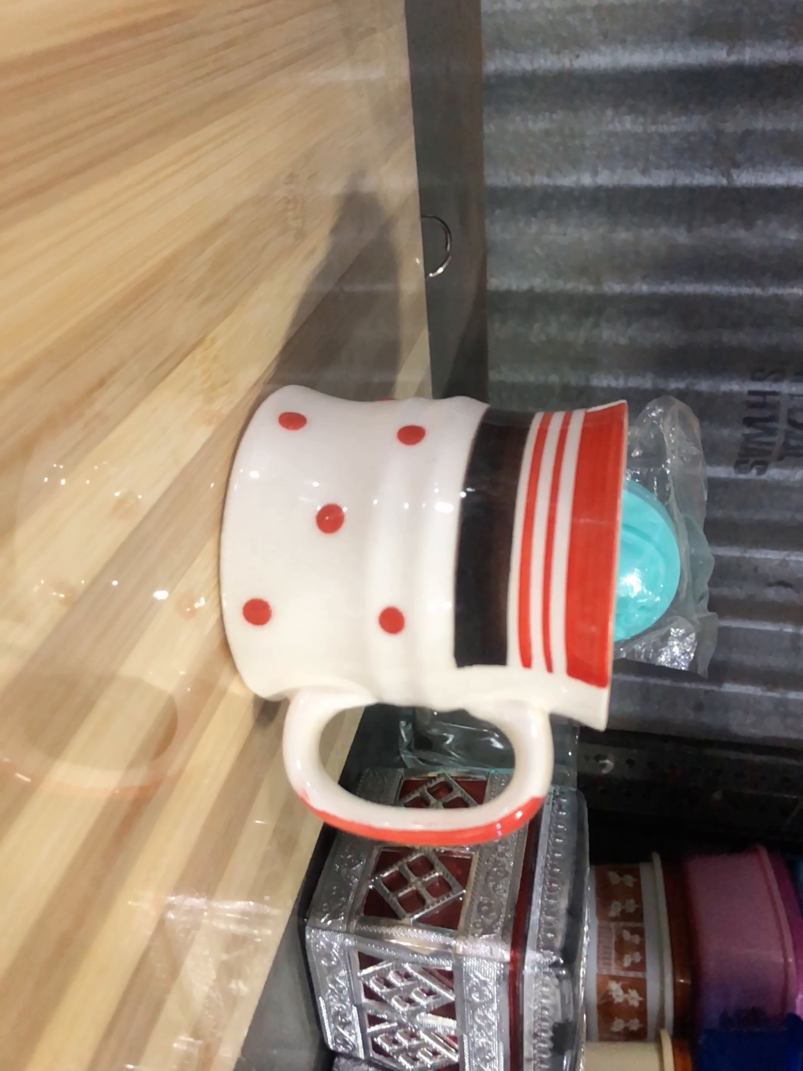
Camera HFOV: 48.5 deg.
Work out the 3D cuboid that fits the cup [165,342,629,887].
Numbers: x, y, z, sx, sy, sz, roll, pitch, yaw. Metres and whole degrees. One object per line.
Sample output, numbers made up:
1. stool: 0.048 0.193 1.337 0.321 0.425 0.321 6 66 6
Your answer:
1. cup: 0.009 0.021 0.238 0.100 0.090 0.110 3 90 -78
